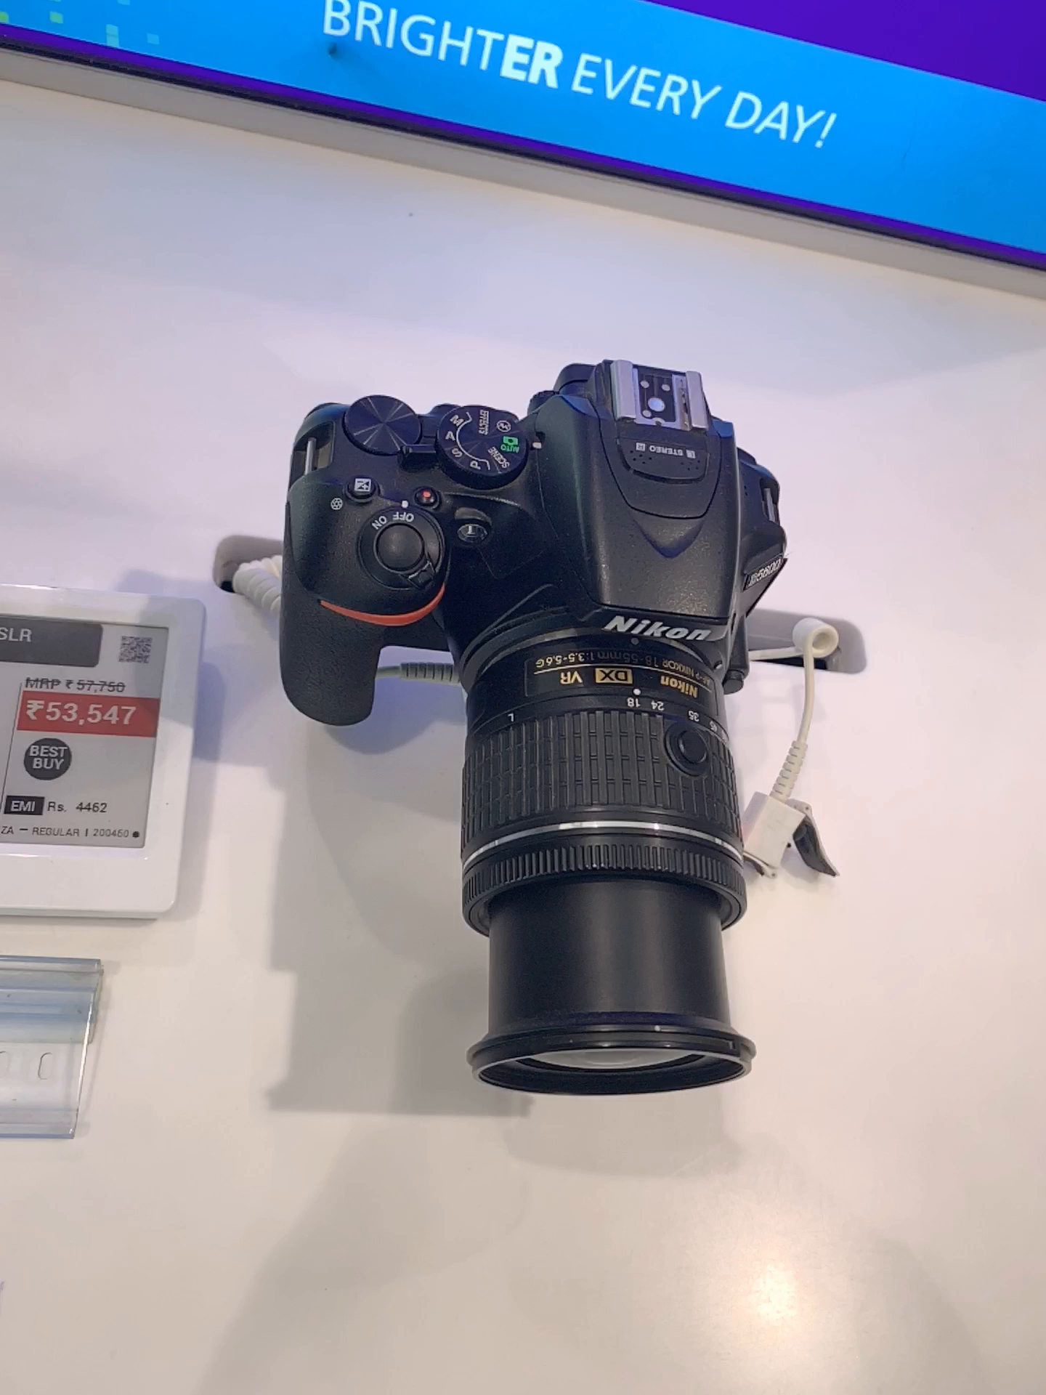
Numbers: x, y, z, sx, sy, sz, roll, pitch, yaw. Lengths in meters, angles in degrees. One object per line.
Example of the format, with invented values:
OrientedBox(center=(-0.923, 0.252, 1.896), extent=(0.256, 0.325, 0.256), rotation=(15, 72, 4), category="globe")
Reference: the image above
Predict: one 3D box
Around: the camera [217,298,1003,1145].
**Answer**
OrientedBox(center=(0.003, 0.012, 0.230), extent=(0.116, 0.100, 0.141), rotation=(4, 60, -12), category="camera")
